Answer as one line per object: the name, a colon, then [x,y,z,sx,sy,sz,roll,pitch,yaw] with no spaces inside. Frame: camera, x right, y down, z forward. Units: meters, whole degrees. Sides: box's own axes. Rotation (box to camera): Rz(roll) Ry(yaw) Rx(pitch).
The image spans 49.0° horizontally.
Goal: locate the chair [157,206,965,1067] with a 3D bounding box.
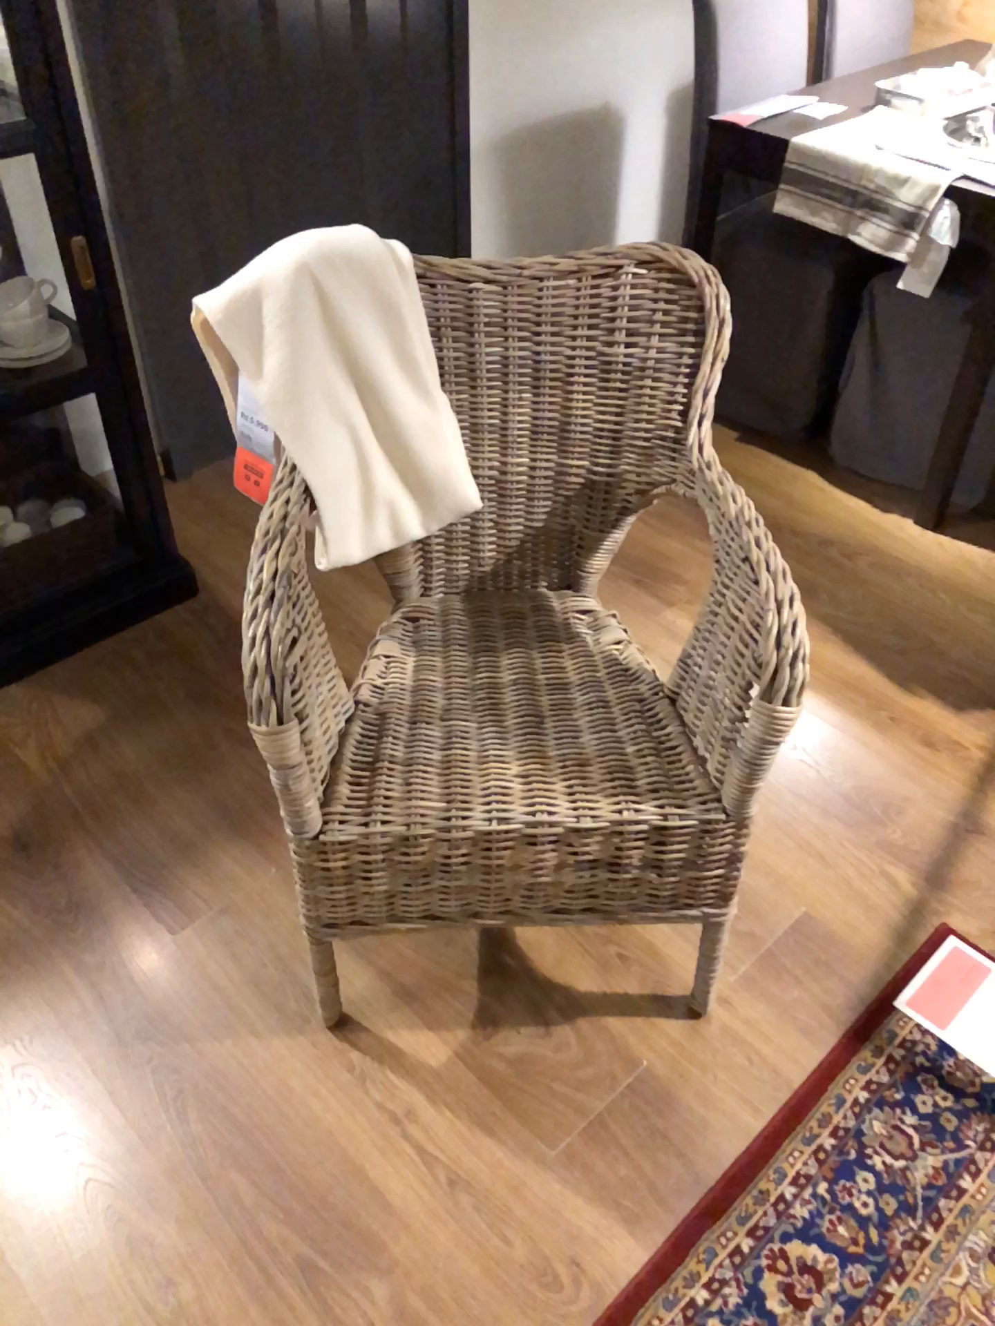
chair: [0.030,-0.031,1.337,0.620,0.815,0.634,-2,40,-3]
